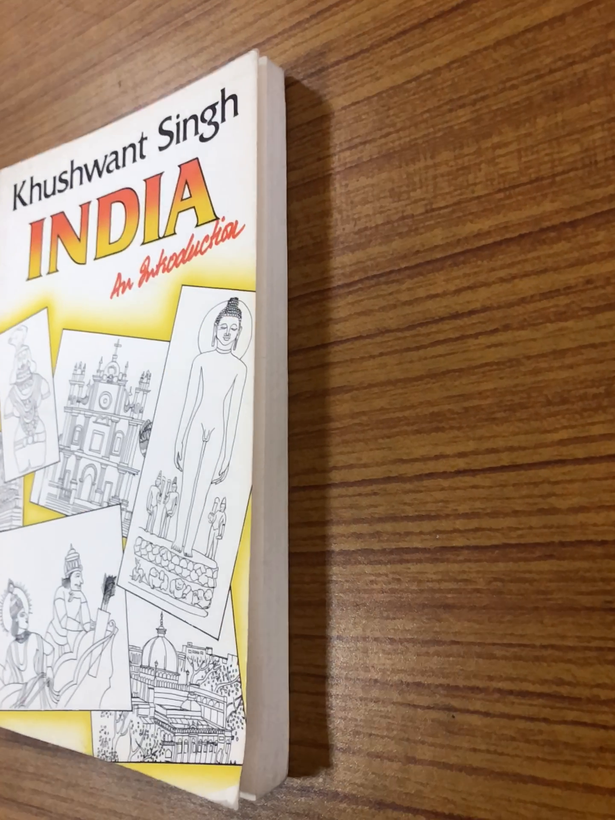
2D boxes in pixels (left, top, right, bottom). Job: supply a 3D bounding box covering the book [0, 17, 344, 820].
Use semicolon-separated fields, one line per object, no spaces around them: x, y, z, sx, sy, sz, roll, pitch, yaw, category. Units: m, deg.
-0.055;0.001;0.208;0.141;0.020;0.190;-5;80;33;book
